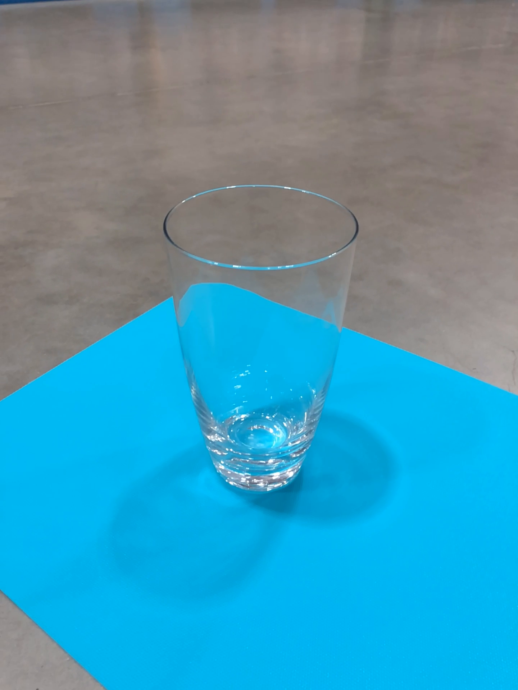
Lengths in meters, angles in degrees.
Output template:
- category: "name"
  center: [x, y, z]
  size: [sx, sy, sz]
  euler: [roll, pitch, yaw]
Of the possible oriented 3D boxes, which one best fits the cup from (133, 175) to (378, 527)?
- category: "cup"
  center: [0.003, 0.004, 0.320]
  size: [0.100, 0.159, 0.100]
  euler: [0, 36, 0]
